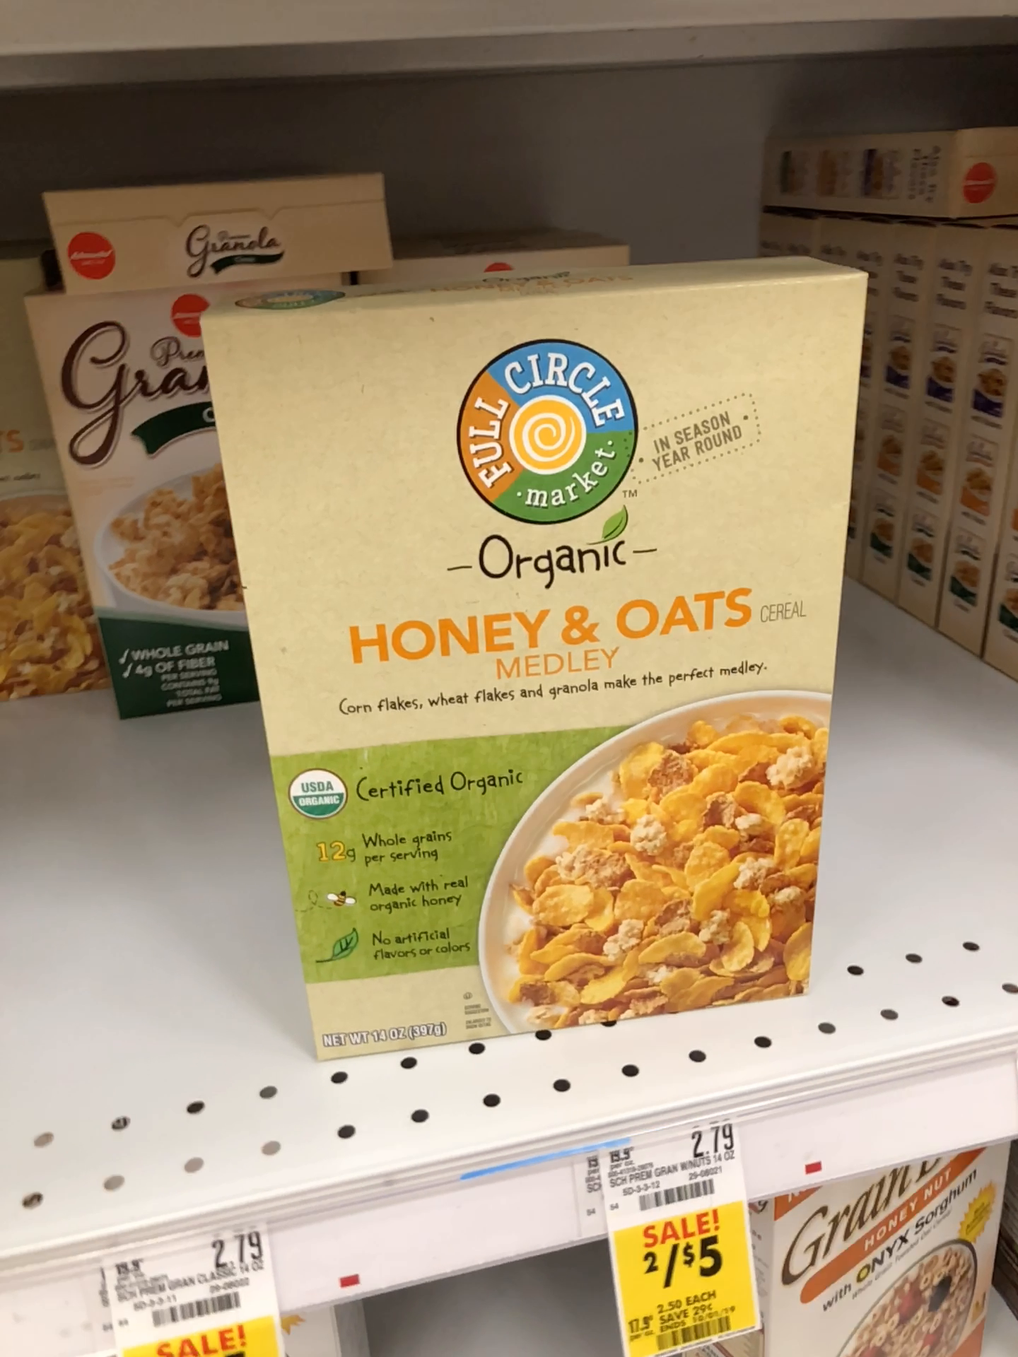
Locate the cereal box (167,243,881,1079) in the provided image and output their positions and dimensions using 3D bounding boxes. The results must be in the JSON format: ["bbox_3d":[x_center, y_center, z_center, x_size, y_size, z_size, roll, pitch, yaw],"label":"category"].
[{"bbox_3d":[0.009,0.000,0.376,0.190,0.259,0.060,-6,25,-6],"label":"cereal box"}]
